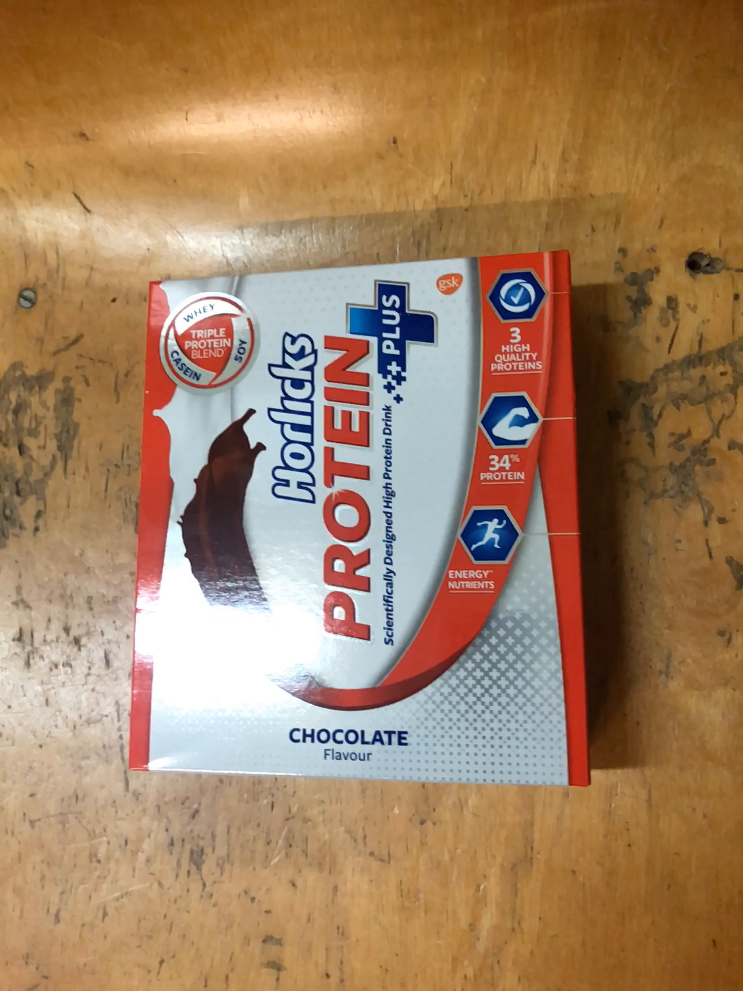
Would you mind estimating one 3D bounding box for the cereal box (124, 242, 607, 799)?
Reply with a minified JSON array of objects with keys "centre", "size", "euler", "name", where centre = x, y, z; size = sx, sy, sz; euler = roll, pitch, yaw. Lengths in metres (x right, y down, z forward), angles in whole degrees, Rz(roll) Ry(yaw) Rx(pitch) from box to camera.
[{"centre":[-0.001,0.008,0.271],"size":[0.140,0.050,0.160],"euler":[-1,83,8],"name":"cereal box"}]
